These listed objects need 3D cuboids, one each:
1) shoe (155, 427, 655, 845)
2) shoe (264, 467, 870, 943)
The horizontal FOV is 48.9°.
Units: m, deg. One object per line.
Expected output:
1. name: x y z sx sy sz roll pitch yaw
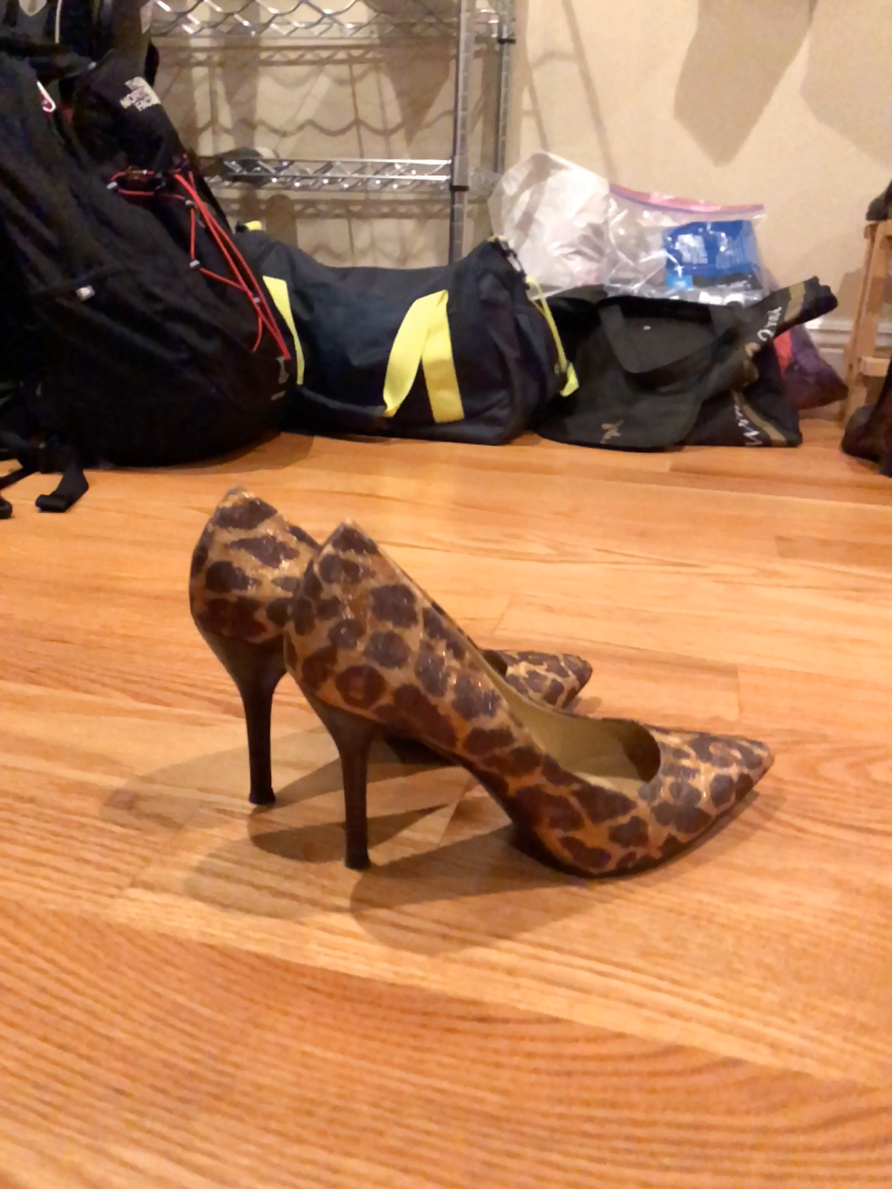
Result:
1. shoe: -0.014 0.005 0.471 0.219 0.144 0.084 -11 23 -34
2. shoe: 0.045 0.032 0.399 0.218 0.144 0.084 -5 20 -22
